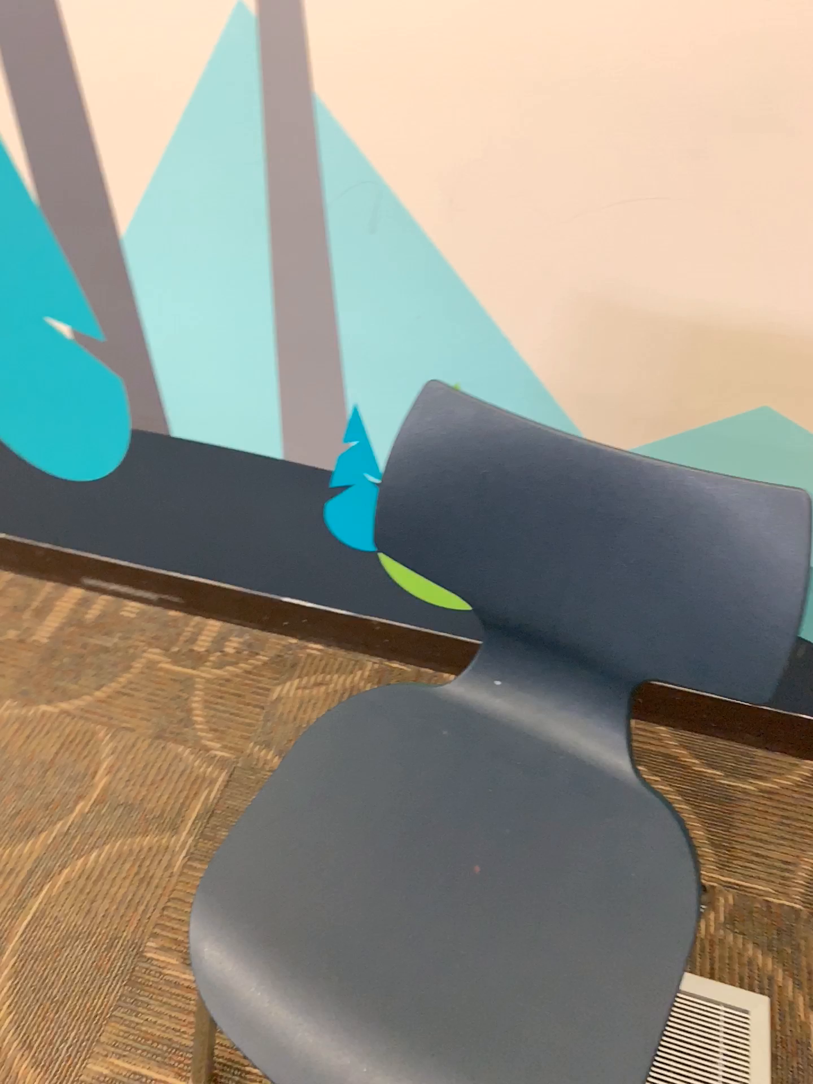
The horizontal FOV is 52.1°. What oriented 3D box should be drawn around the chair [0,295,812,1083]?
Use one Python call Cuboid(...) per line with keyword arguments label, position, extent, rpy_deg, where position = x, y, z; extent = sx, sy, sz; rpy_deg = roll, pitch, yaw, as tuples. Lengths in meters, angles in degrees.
Cuboid(label="chair", position=(0.057, 0.285, 0.829), extent=(0.571, 0.747, 0.582), rpy_deg=(20, 46, 20))
